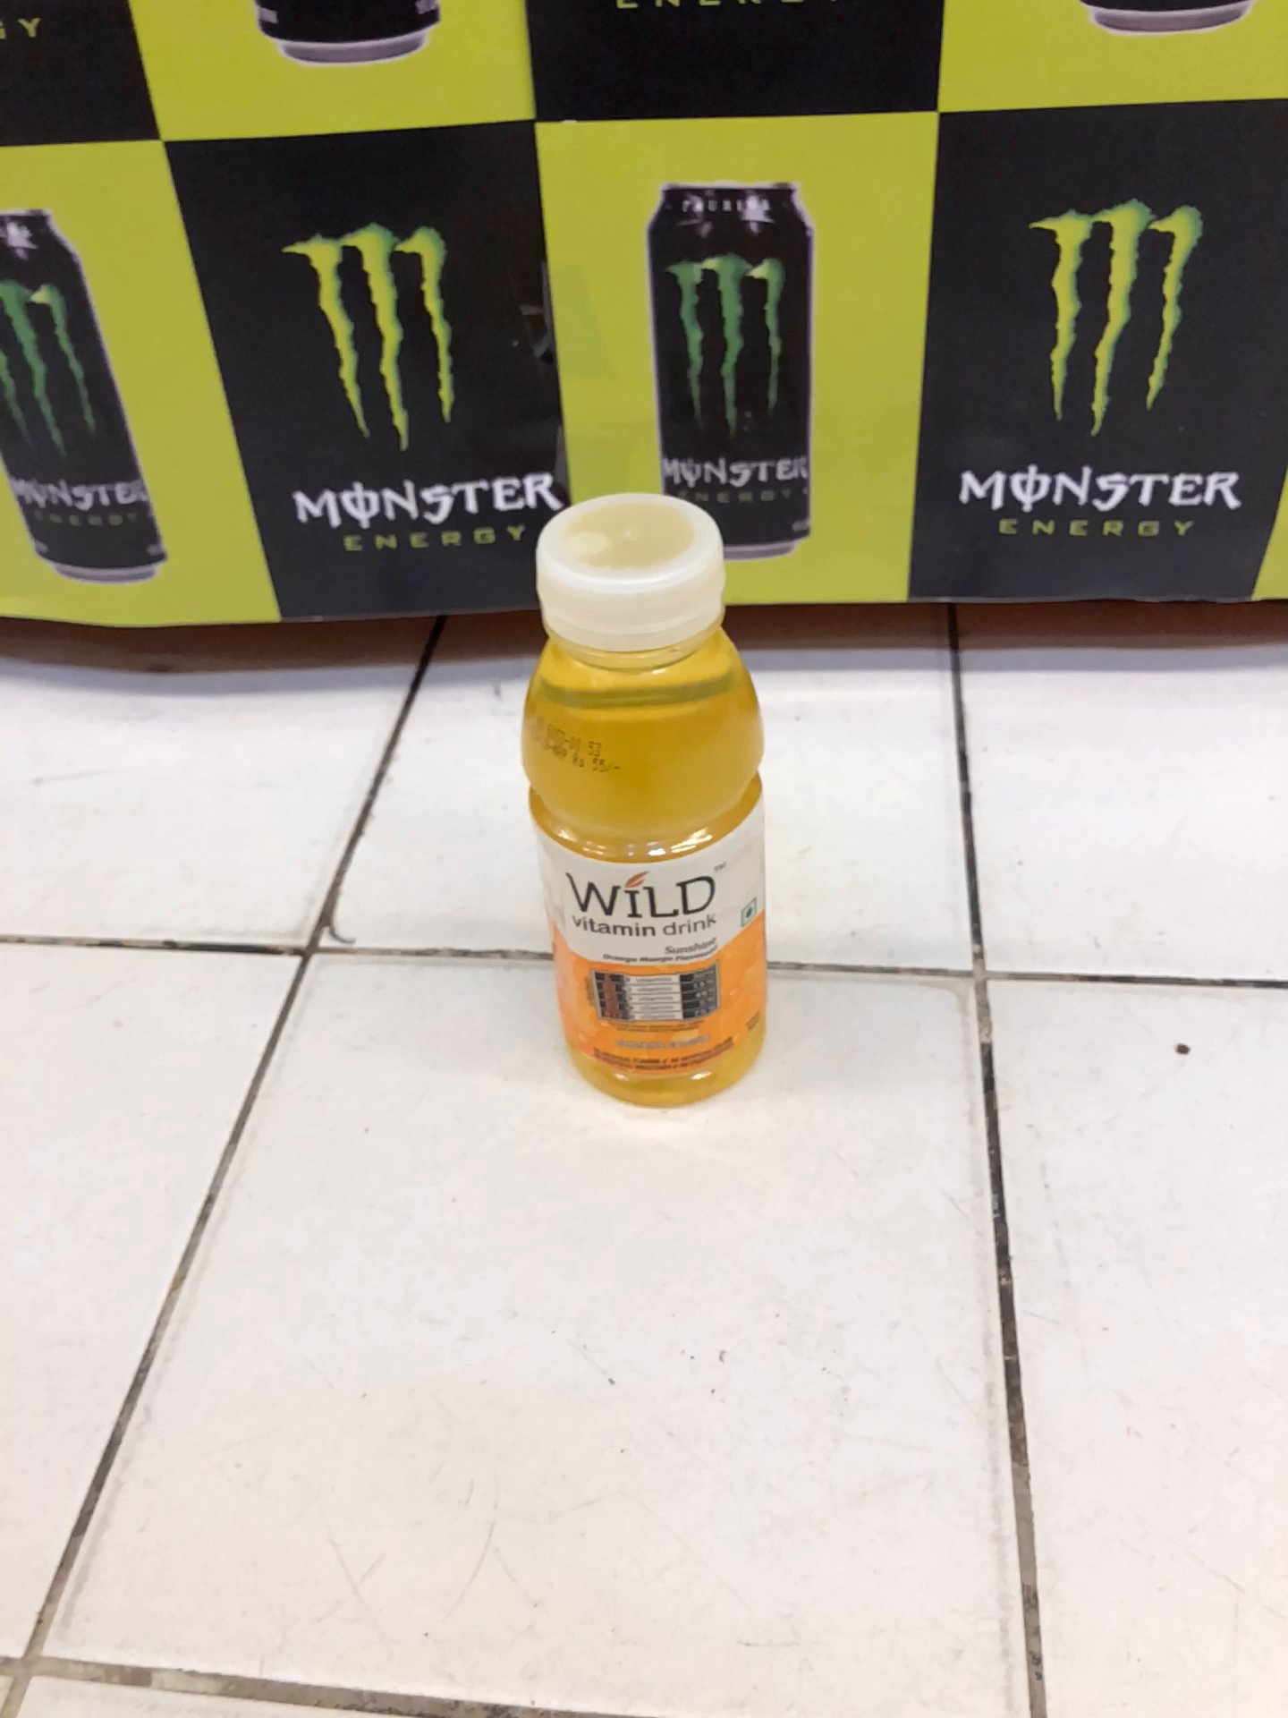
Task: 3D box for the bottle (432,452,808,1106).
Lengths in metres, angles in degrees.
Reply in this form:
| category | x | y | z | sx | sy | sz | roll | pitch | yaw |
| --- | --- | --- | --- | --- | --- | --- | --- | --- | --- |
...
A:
| category | x | y | z | sx | sy | sz | roll | pitch | yaw |
| --- | --- | --- | --- | --- | --- | --- | --- | --- | --- |
| bottle | 0.002 | -0.014 | 0.338 | 0.070 | 0.139 | 0.070 | -3 | 42 | 2 |
